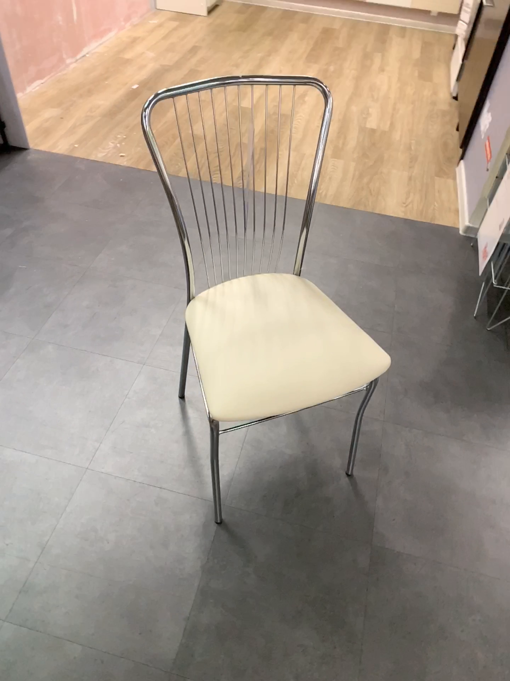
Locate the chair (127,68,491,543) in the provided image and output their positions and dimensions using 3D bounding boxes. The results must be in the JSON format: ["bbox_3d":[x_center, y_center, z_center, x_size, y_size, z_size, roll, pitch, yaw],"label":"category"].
[{"bbox_3d":[0.027,-0.040,1.281,0.472,0.965,0.554,-12,48,-17],"label":"chair"}]
